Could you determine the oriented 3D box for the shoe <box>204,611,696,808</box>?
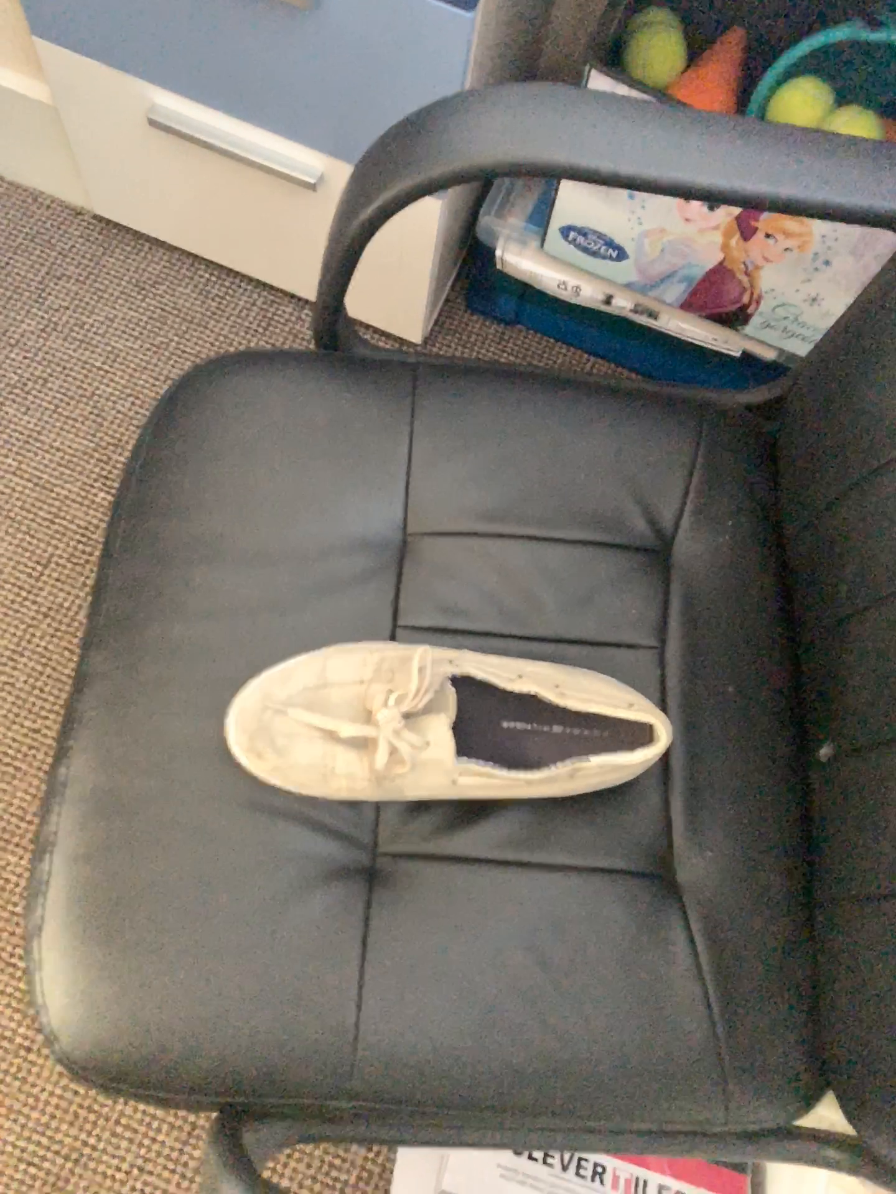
[{"bbox_3d":[0.001,0.071,0.543,0.270,0.070,0.100,2,71,-6],"label":"shoe"}]
